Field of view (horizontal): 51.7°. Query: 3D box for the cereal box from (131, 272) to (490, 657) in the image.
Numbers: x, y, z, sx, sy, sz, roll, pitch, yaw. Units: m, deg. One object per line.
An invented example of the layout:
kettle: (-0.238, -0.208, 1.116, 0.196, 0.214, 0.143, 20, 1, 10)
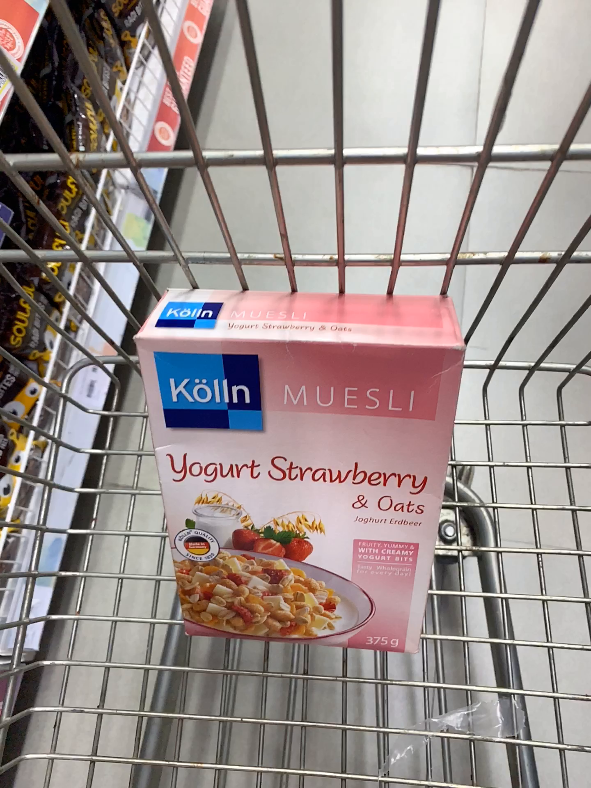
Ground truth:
cereal box: (0.008, 0.048, 0.334, 0.150, 0.220, 0.050, 2, 33, 5)
